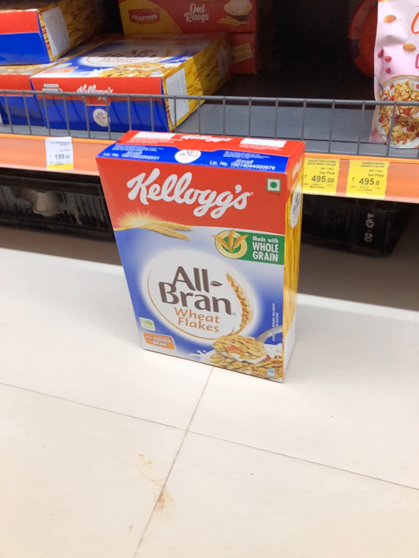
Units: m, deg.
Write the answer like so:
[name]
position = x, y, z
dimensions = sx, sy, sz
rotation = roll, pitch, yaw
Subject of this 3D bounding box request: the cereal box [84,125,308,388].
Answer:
[cereal box]
position = -0.003, -0.019, 0.502
dimensions = 0.190, 0.258, 0.081
rotation = 10, 40, 19
